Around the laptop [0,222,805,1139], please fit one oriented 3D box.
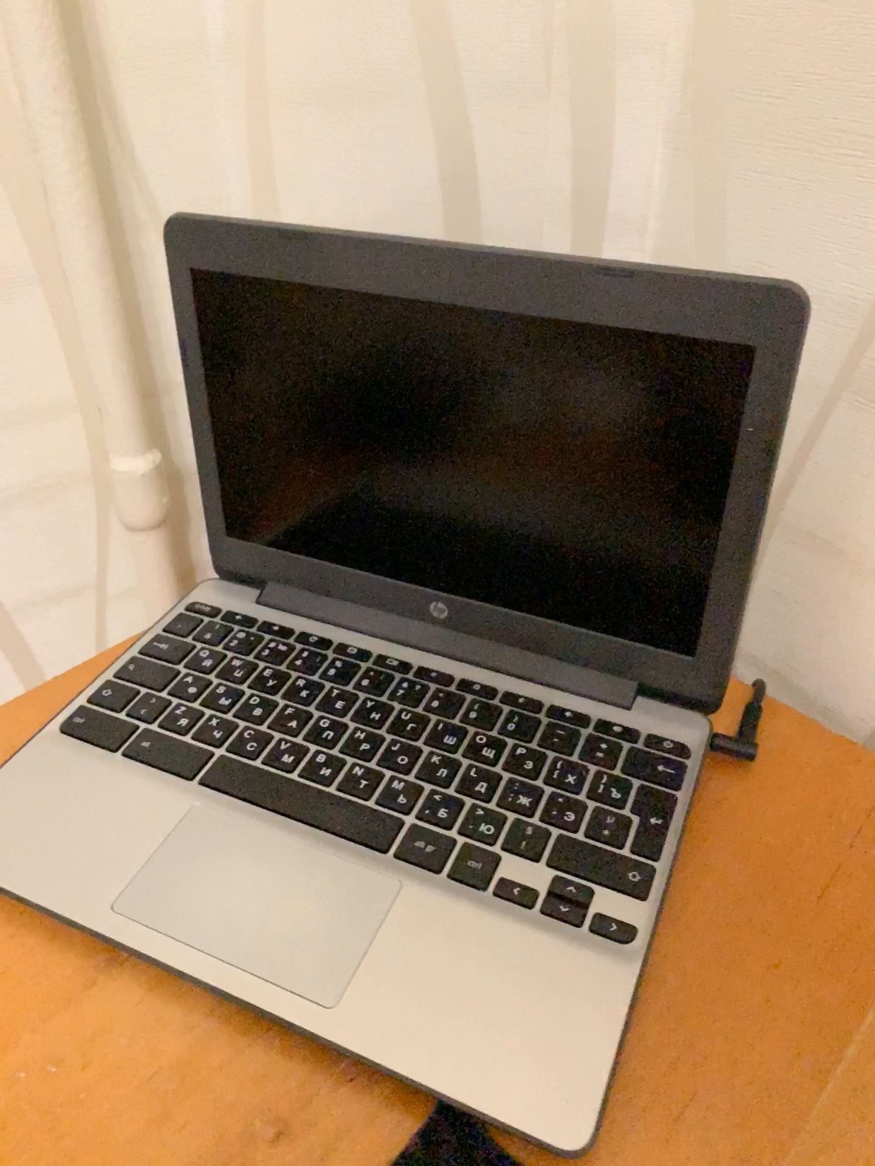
[{"bbox_3d":[-0.040,0.002,0.335,0.271,0.187,0.207,14,39,20],"label":"laptop"}]
